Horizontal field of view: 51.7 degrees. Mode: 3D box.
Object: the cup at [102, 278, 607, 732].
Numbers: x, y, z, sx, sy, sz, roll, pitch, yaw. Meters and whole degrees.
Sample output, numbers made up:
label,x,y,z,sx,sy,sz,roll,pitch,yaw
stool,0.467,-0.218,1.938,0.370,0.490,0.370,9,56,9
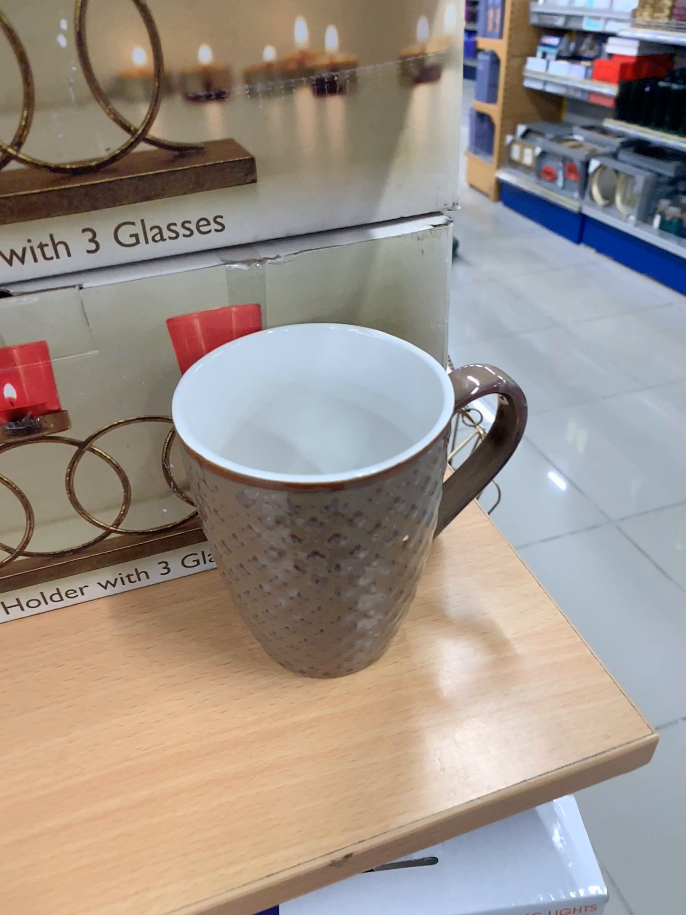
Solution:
label,x,y,z,sx,sy,sz,roll,pitch,yaw
cup,-0.001,0.007,0.242,0.130,0.090,0.090,-14,36,-17
